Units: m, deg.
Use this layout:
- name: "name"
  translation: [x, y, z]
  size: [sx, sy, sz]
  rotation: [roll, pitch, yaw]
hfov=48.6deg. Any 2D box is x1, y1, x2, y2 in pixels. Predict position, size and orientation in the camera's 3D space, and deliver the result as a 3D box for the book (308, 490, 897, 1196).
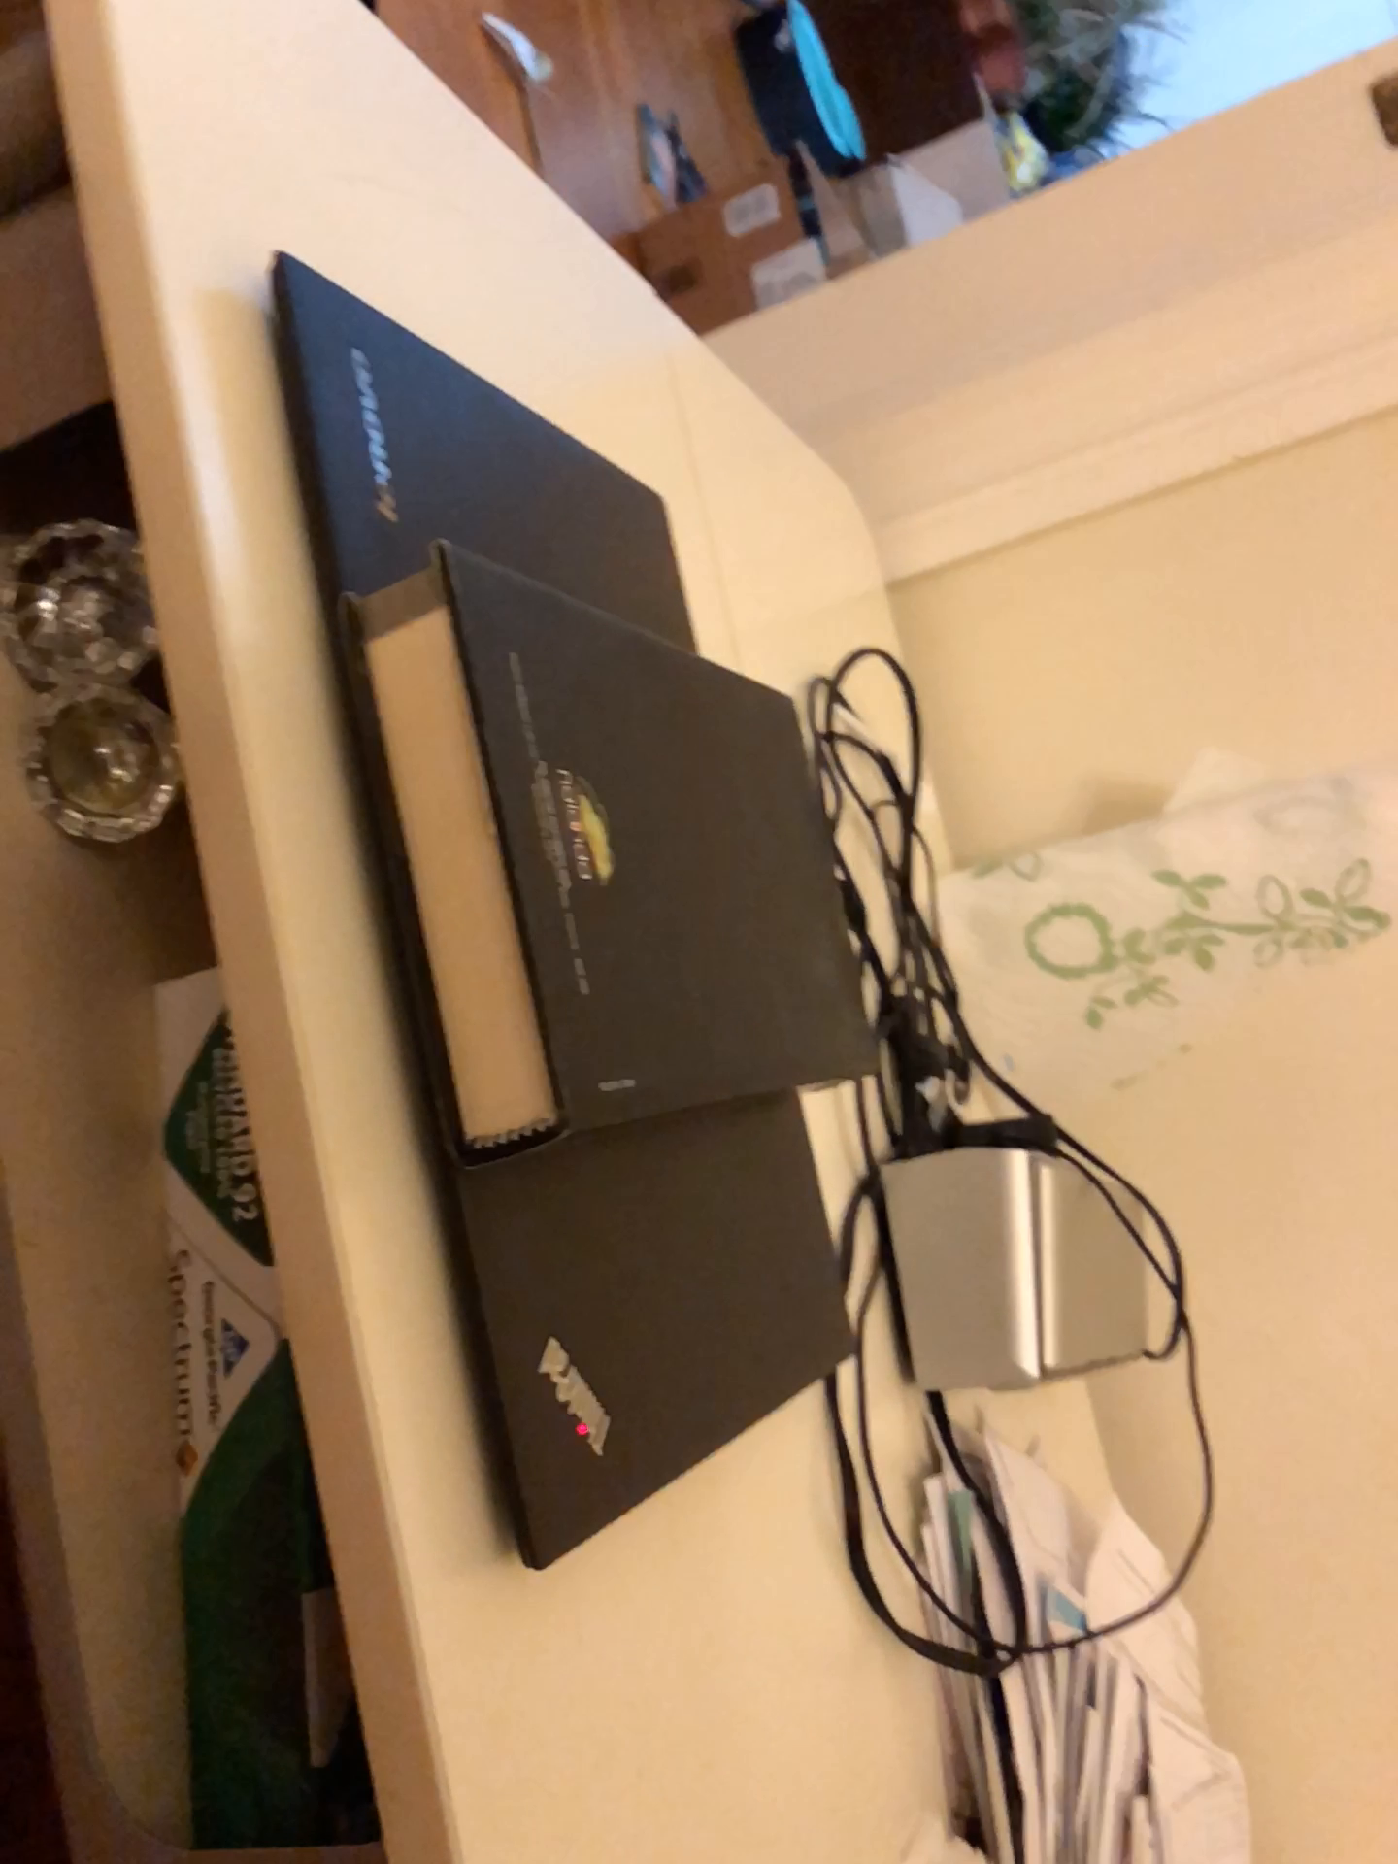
- name: "book"
  translation: [-0.011, -0.017, 0.446]
  size: [0.231, 0.040, 0.150]
  rotation: [4, 72, -67]
